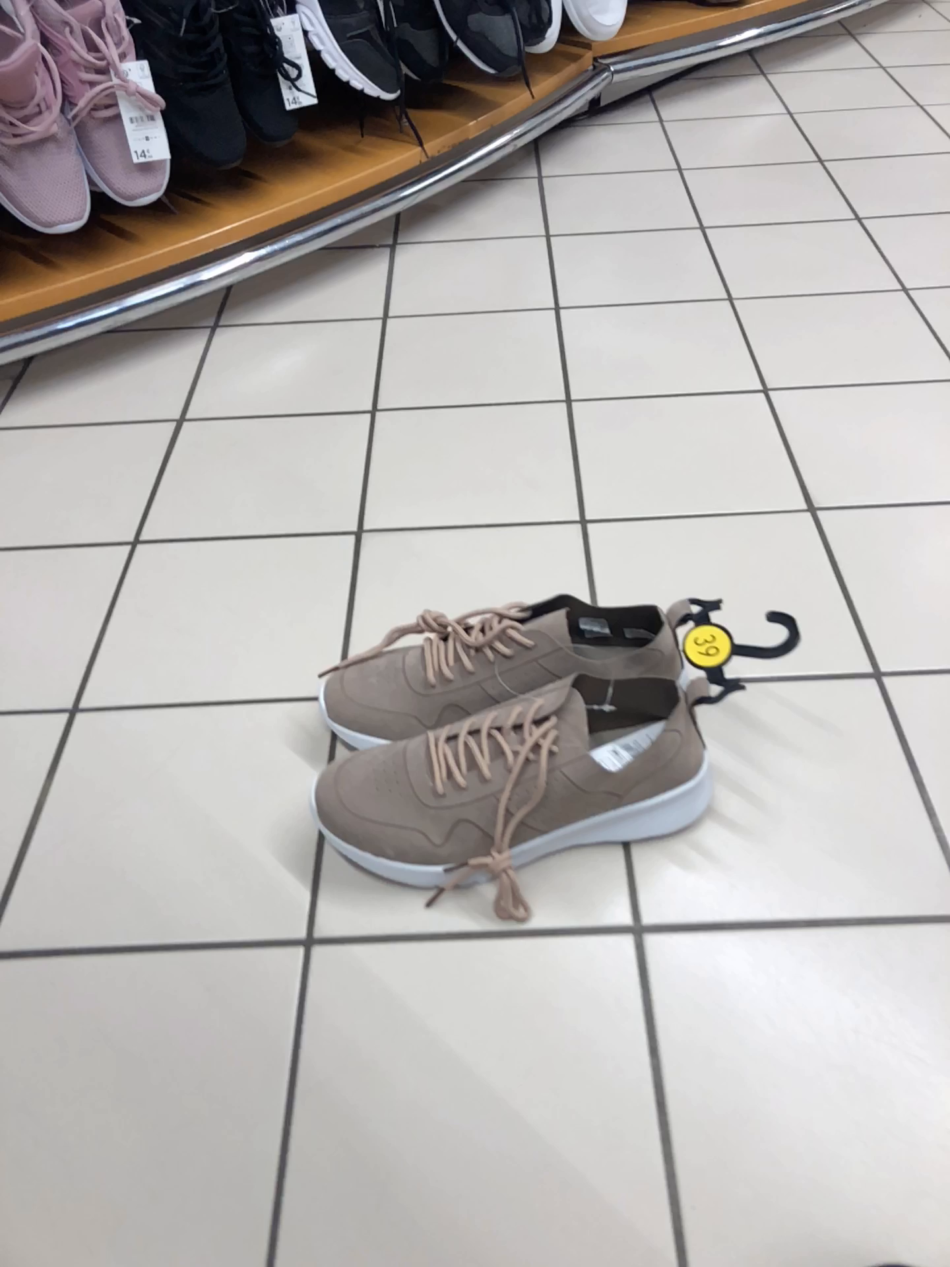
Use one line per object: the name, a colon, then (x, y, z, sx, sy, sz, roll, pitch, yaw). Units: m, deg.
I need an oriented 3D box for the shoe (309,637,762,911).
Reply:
shoe: (0.033, 0.086, 0.655, 0.258, 0.080, 0.101, -9, 44, -6)

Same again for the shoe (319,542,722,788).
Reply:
shoe: (0.027, 0.021, 0.718, 0.254, 0.099, 0.101, -7, 44, -3)
